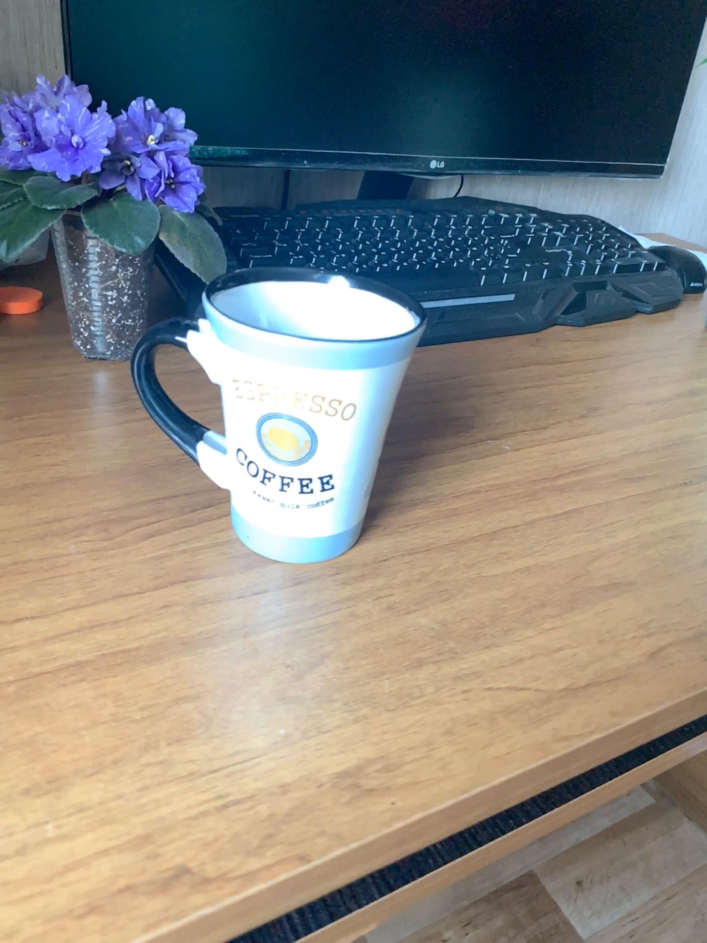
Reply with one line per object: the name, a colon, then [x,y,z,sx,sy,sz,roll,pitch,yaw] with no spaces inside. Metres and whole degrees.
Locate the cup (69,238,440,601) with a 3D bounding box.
cup: [-0.033,-0.023,0.276,0.110,0.100,0.070,11,30,9]
